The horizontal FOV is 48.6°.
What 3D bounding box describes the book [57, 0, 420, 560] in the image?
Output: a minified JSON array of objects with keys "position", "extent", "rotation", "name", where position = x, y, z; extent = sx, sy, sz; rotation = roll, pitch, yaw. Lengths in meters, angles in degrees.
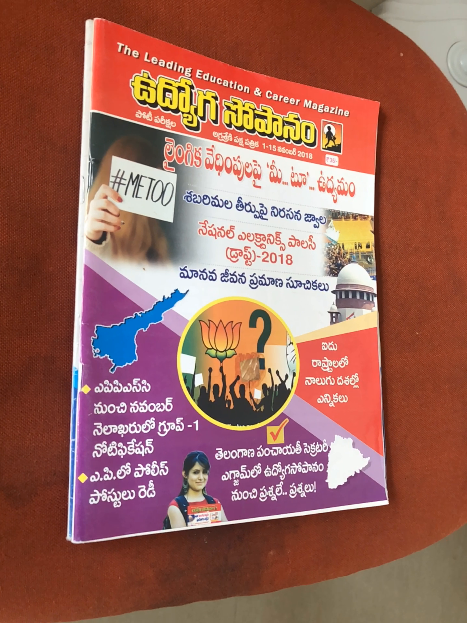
[{"position":[0.014,-0.018,0.326],"extent":[0.218,0.040,0.294],"rotation":[4,82,-23],"name":"book"}]
